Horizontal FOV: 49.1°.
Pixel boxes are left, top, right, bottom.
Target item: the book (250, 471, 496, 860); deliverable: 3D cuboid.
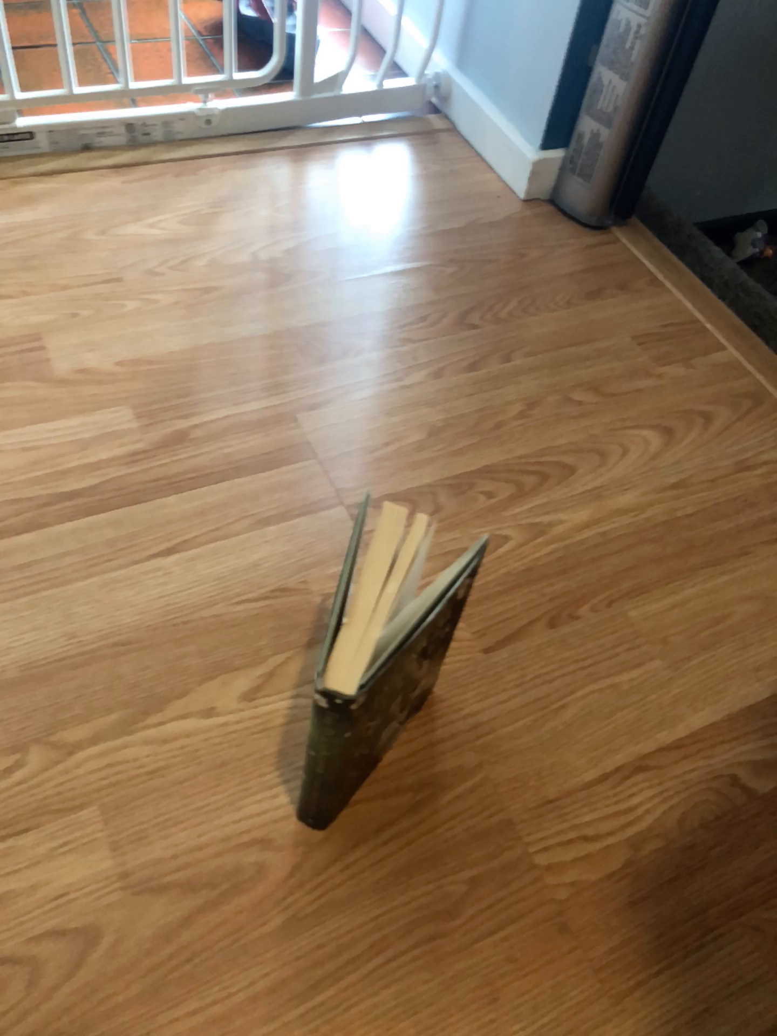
[{"bbox_3d":[-0.016,0.105,0.564,0.080,0.220,0.150,23,51,7],"label":"book"}]
